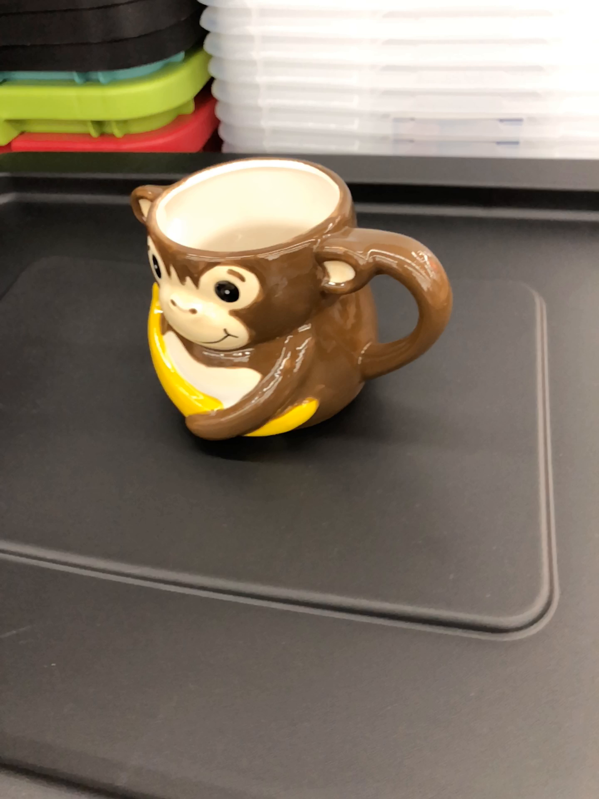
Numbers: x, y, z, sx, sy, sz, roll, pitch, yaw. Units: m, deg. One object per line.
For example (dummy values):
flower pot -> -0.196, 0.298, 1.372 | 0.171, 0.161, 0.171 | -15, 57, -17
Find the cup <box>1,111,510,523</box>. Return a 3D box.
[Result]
cup -> -0.010, -0.044, 0.288 | 0.160, 0.100, 0.110 | 15, 48, 20
